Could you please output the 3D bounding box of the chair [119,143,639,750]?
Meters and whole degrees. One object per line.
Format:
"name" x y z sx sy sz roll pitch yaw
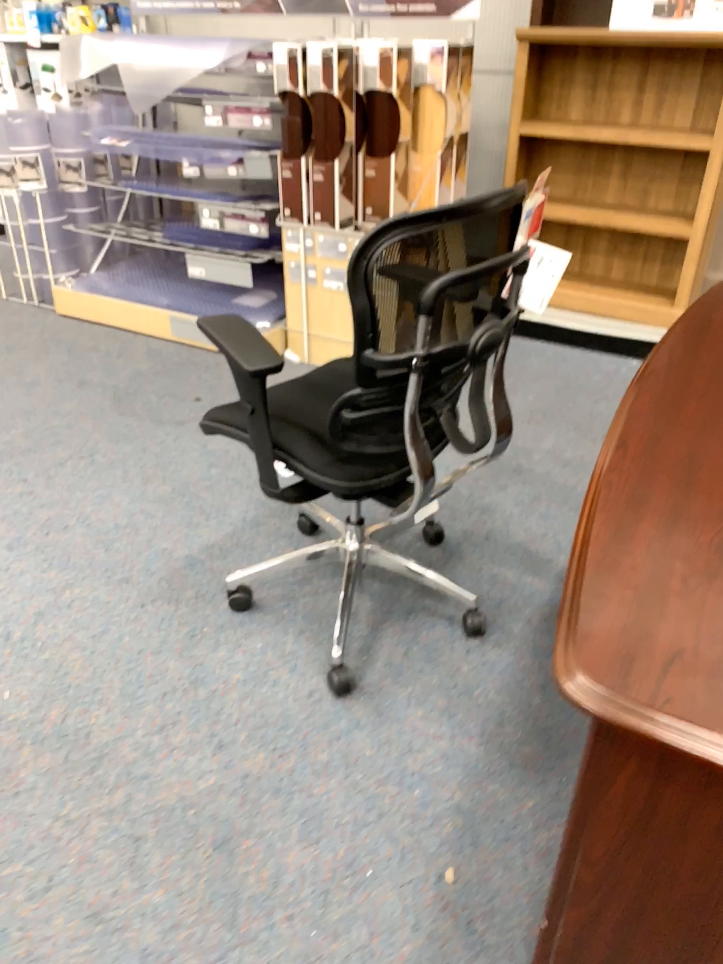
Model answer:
"chair" 0.048 -0.143 1.639 0.686 0.983 0.699 23 38 32
